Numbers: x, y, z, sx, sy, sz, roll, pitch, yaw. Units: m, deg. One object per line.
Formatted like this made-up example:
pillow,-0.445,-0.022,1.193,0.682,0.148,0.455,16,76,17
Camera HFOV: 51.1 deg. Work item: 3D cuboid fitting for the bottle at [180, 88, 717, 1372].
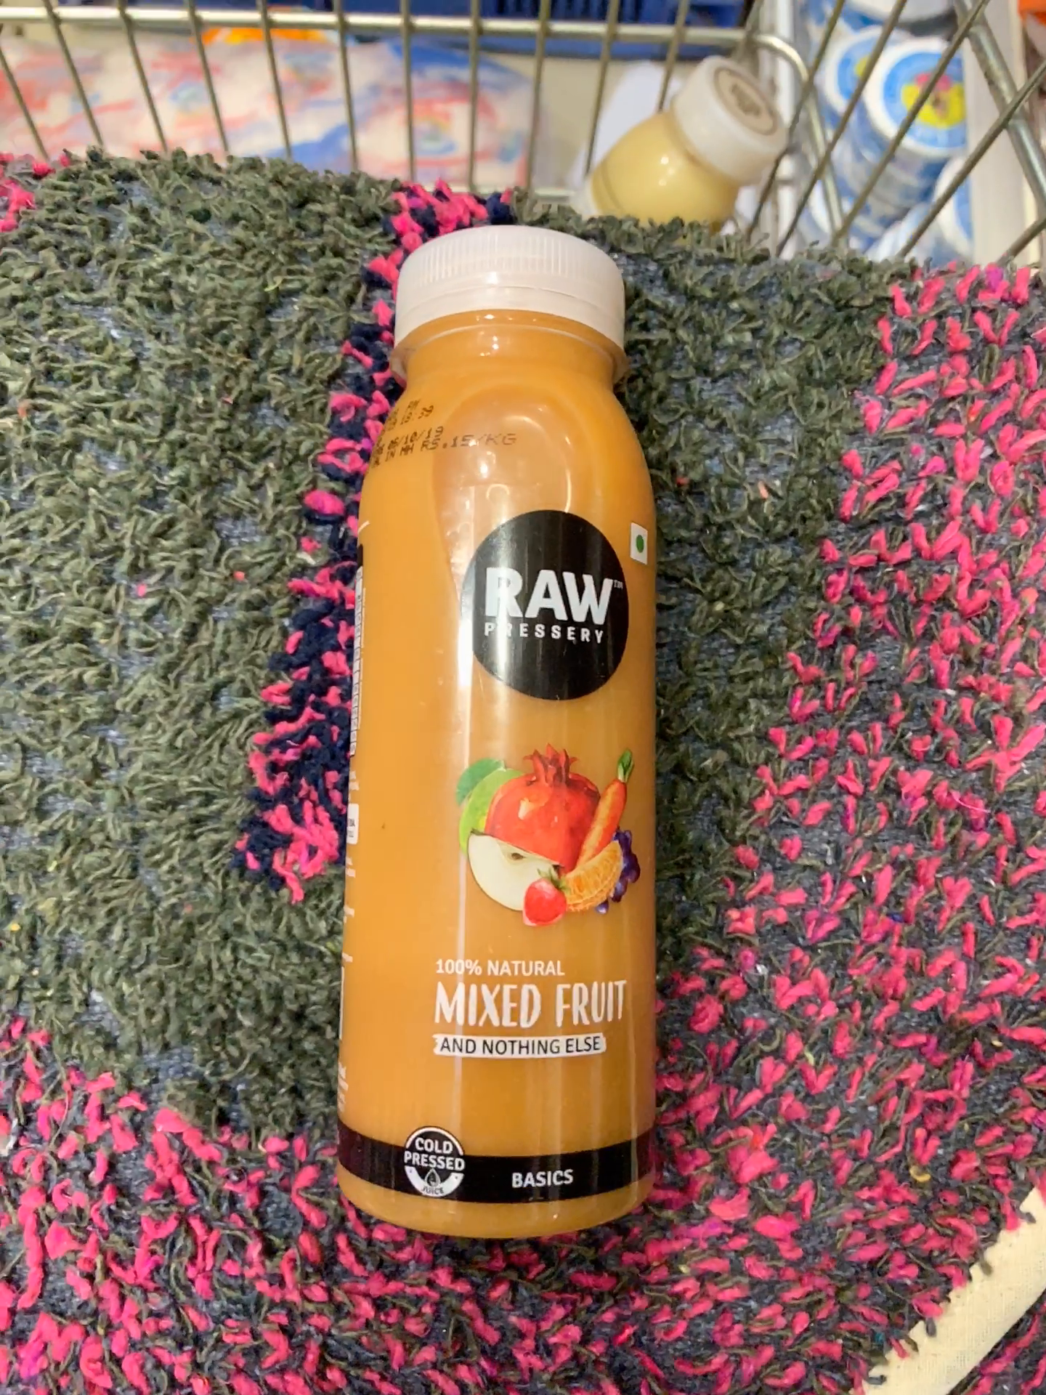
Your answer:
bottle,-0.013,0.004,0.166,0.060,0.060,0.150,5,82,-21
